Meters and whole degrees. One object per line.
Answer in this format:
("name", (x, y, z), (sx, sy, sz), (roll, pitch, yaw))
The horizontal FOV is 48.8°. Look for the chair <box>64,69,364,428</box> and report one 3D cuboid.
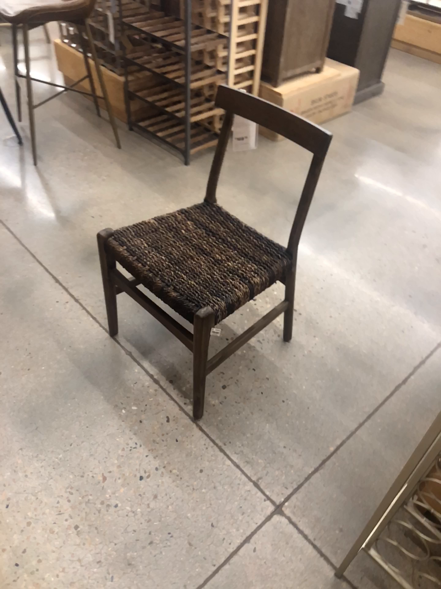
("chair", (-0.039, -0.142, 1.516), (0.534, 0.816, 0.549), (-31, 54, -31))
